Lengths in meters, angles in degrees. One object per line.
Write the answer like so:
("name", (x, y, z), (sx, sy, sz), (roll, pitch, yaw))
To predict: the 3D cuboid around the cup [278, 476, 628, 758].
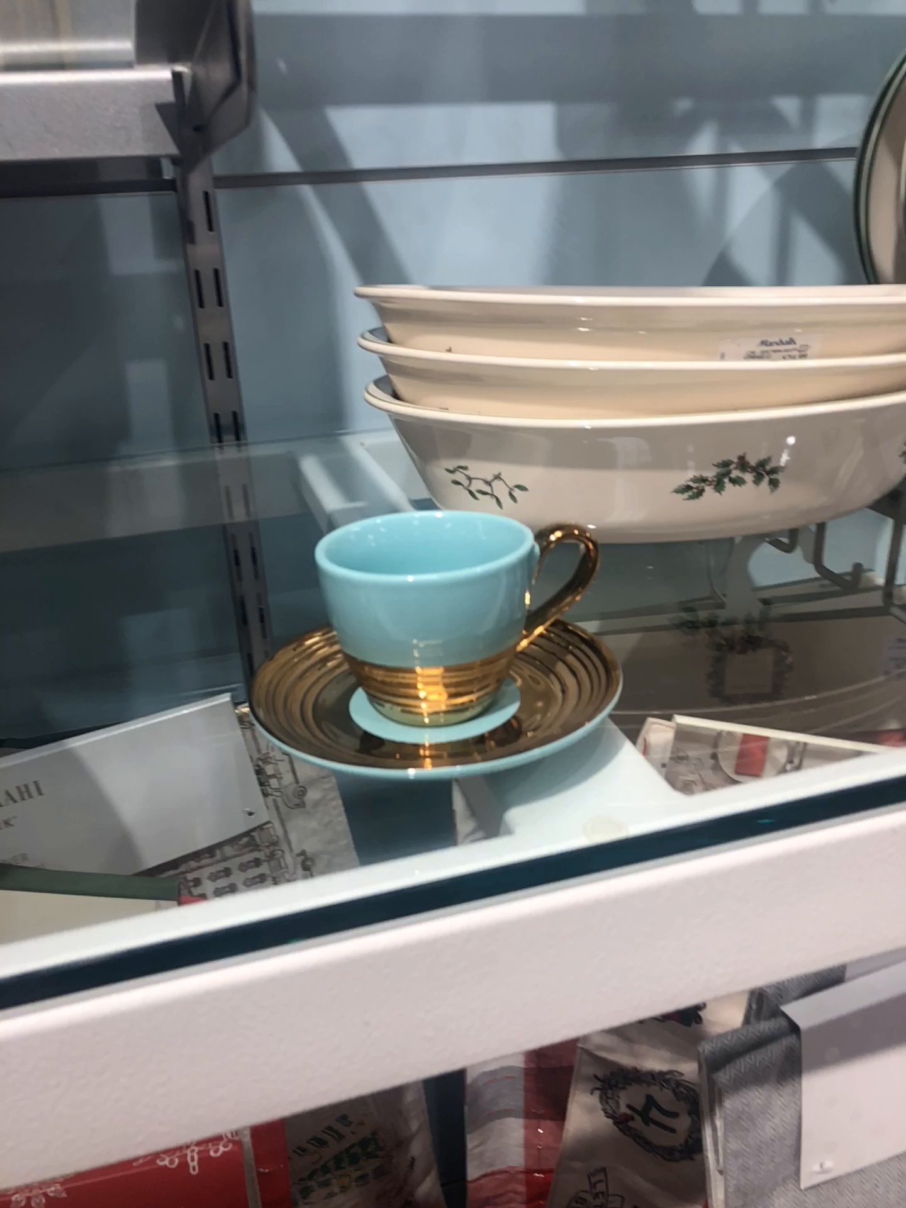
("cup", (-0.002, -0.001, 0.302), (0.084, 0.050, 0.070), (-10, 23, -18))
